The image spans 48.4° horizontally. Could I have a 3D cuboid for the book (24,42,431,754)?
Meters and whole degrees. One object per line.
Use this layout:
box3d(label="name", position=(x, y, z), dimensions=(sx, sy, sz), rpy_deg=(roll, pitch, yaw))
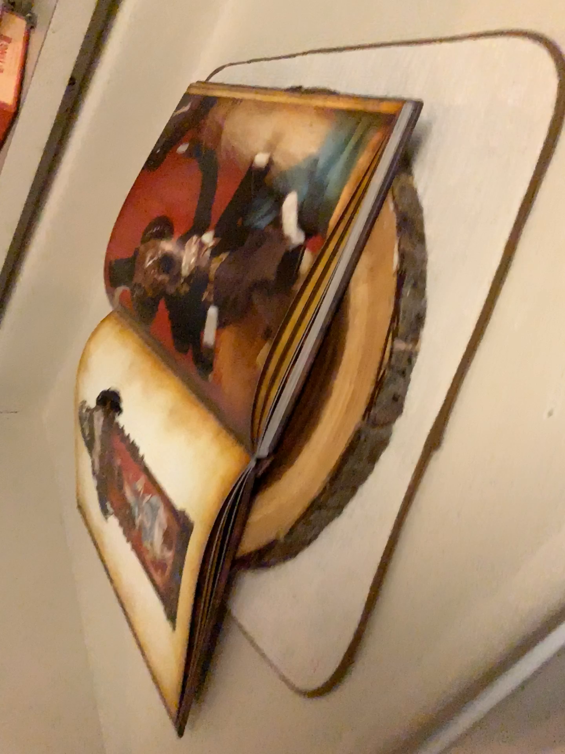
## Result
box3d(label="book", position=(-0.101, -0.015, 0.511), dimensions=(0.340, 0.040, 0.470), rpy_deg=(37, 112, 50))
